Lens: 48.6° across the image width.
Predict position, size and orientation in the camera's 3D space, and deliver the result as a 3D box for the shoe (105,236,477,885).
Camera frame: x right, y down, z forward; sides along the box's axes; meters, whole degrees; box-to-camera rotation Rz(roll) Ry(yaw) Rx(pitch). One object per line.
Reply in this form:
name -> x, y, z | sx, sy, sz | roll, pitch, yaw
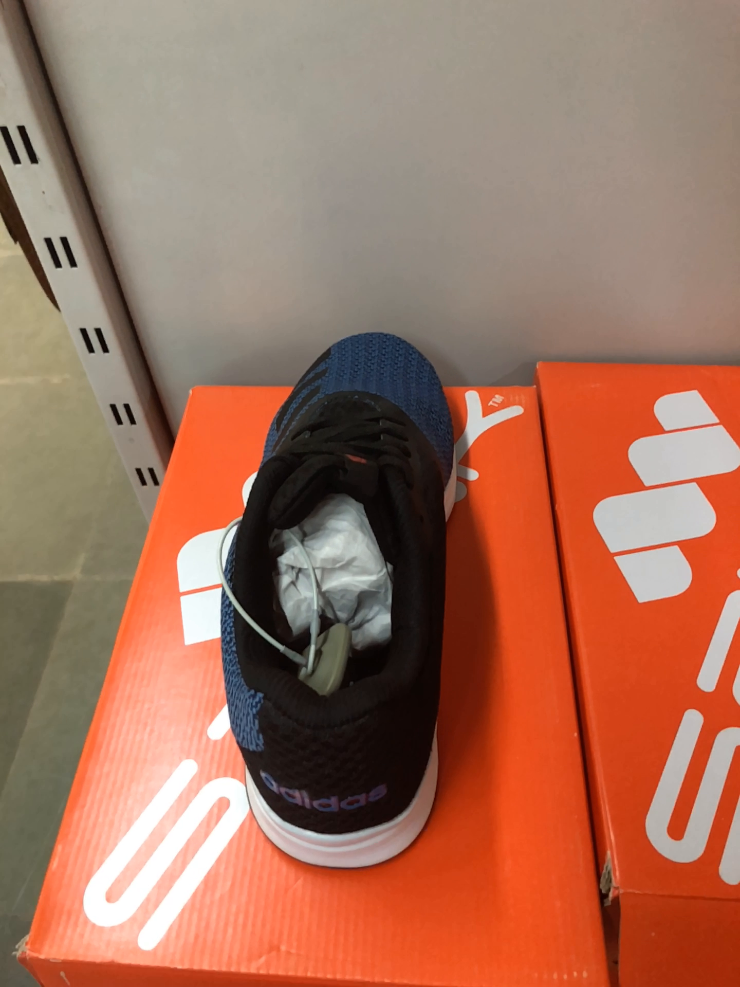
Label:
shoe -> -0.014, 0.016, 0.364 | 0.105, 0.135, 0.255 | -1, 48, 4
